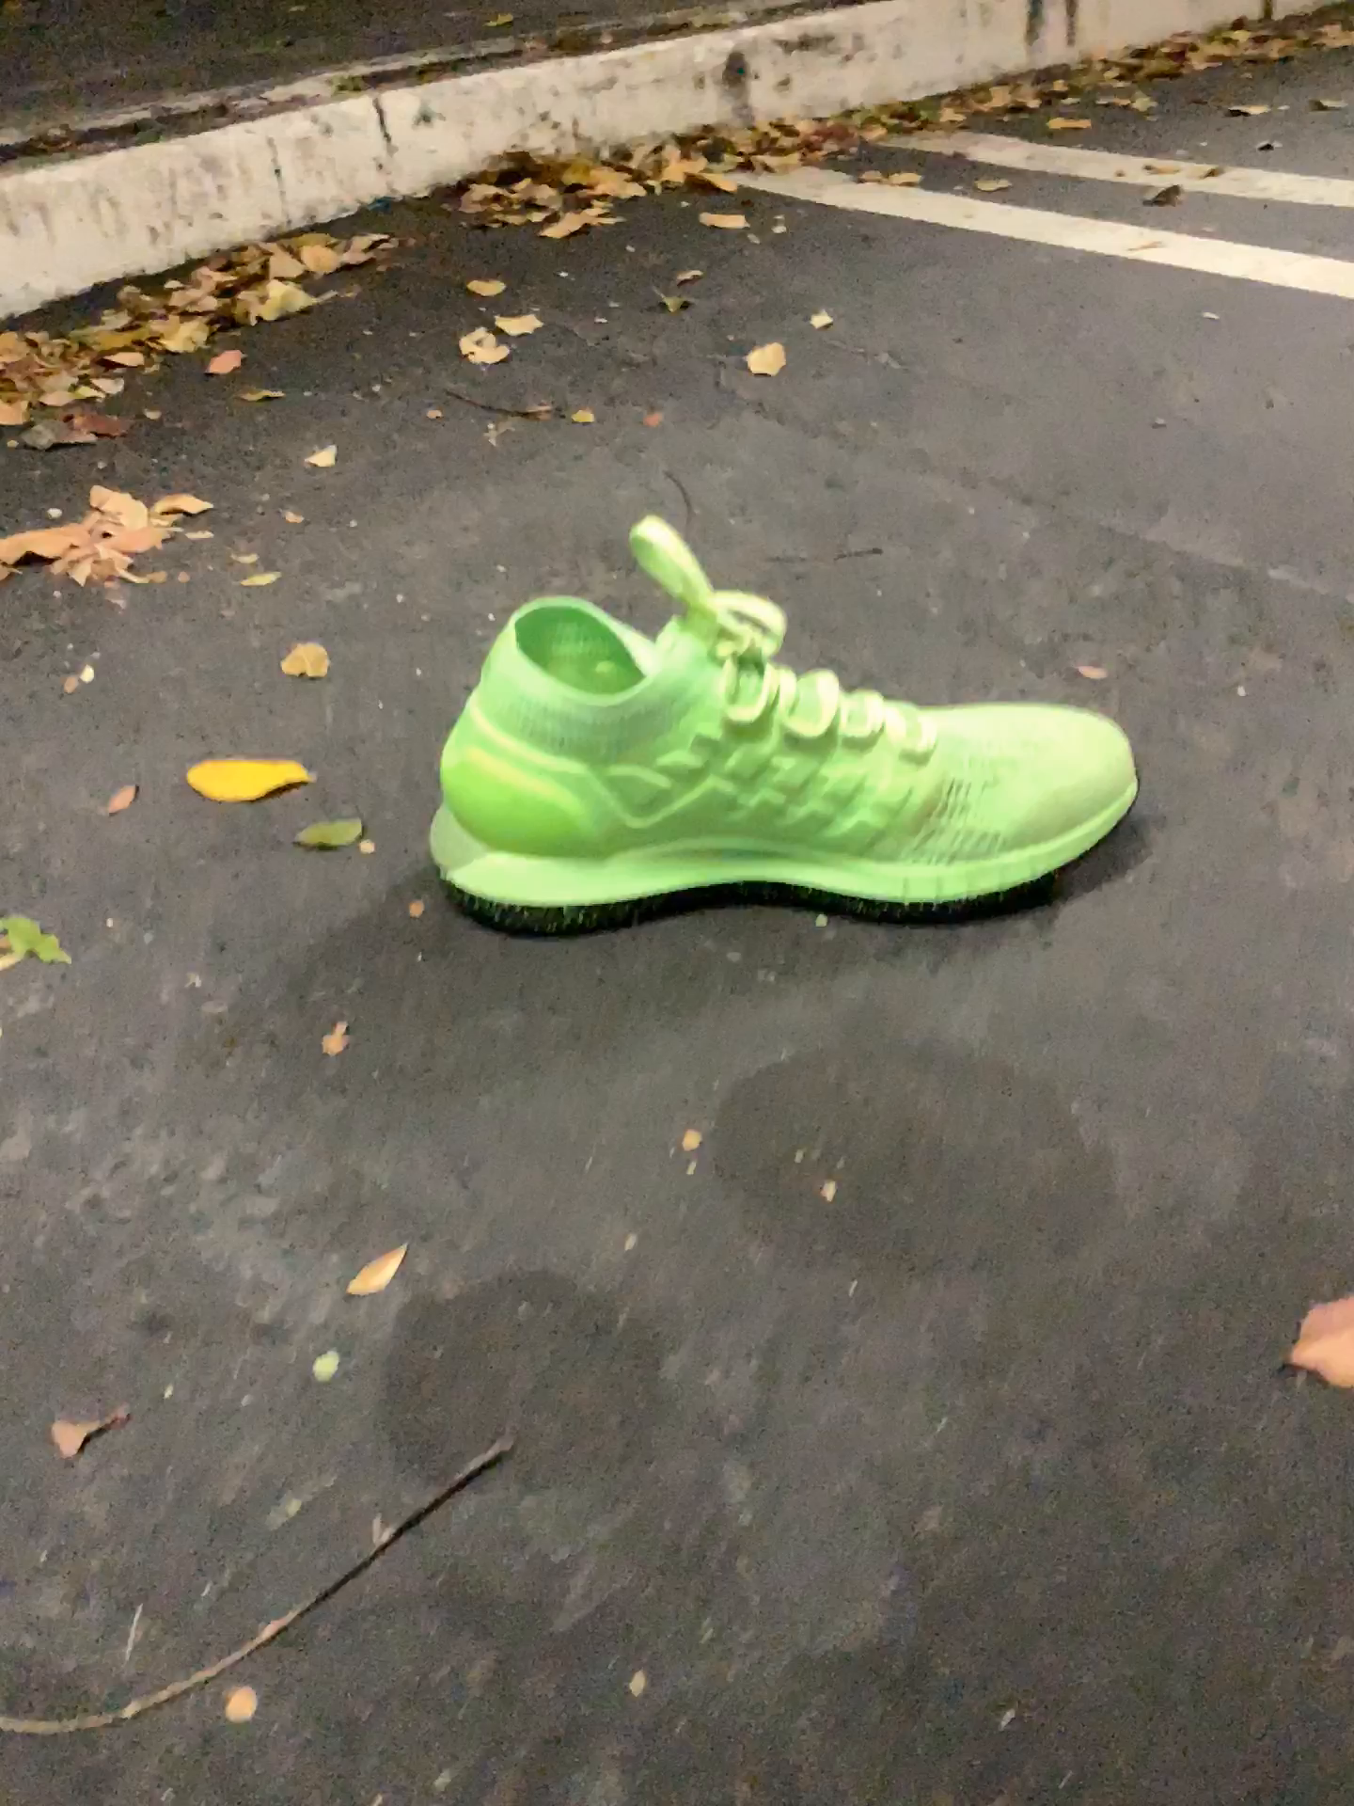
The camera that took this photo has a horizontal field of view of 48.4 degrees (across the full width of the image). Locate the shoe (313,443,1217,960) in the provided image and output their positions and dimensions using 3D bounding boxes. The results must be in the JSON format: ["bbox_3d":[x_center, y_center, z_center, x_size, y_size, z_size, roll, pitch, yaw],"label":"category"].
[{"bbox_3d":[0.039,-0.082,0.627,0.320,0.150,0.130,-3,34,8],"label":"shoe"}]
